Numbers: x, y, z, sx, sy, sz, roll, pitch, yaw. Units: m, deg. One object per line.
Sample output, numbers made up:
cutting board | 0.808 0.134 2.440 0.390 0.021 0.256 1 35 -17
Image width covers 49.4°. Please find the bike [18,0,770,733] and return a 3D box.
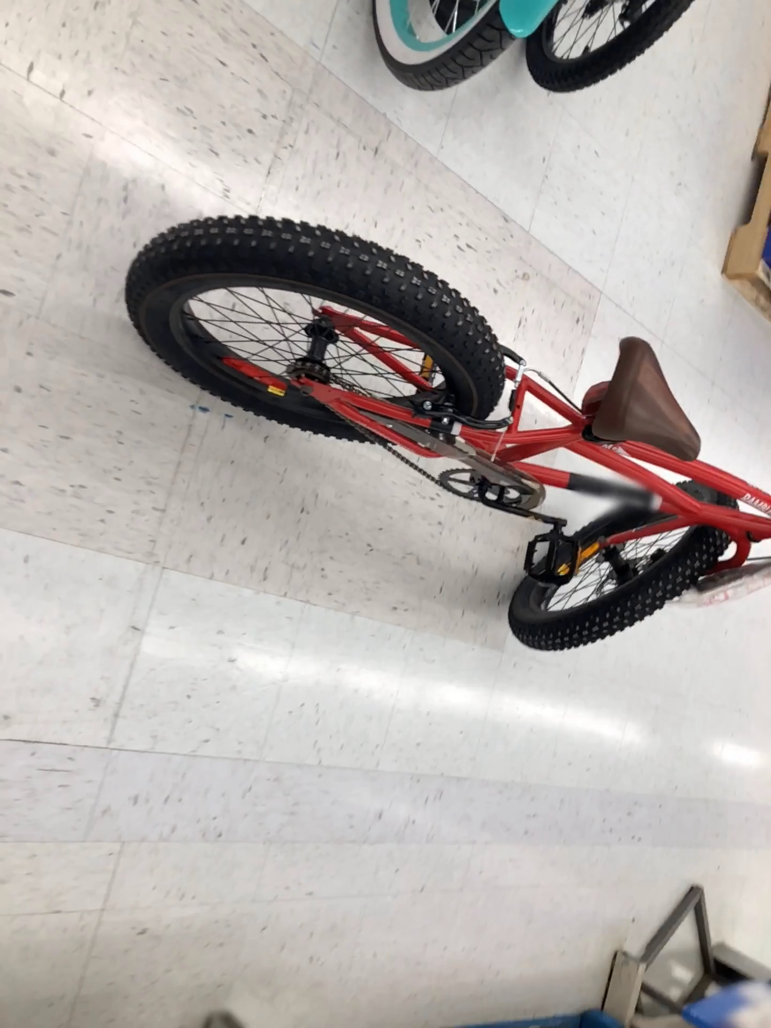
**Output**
bike | 0.294 -0.136 1.369 1.364 0.968 0.607 20 84 -44
